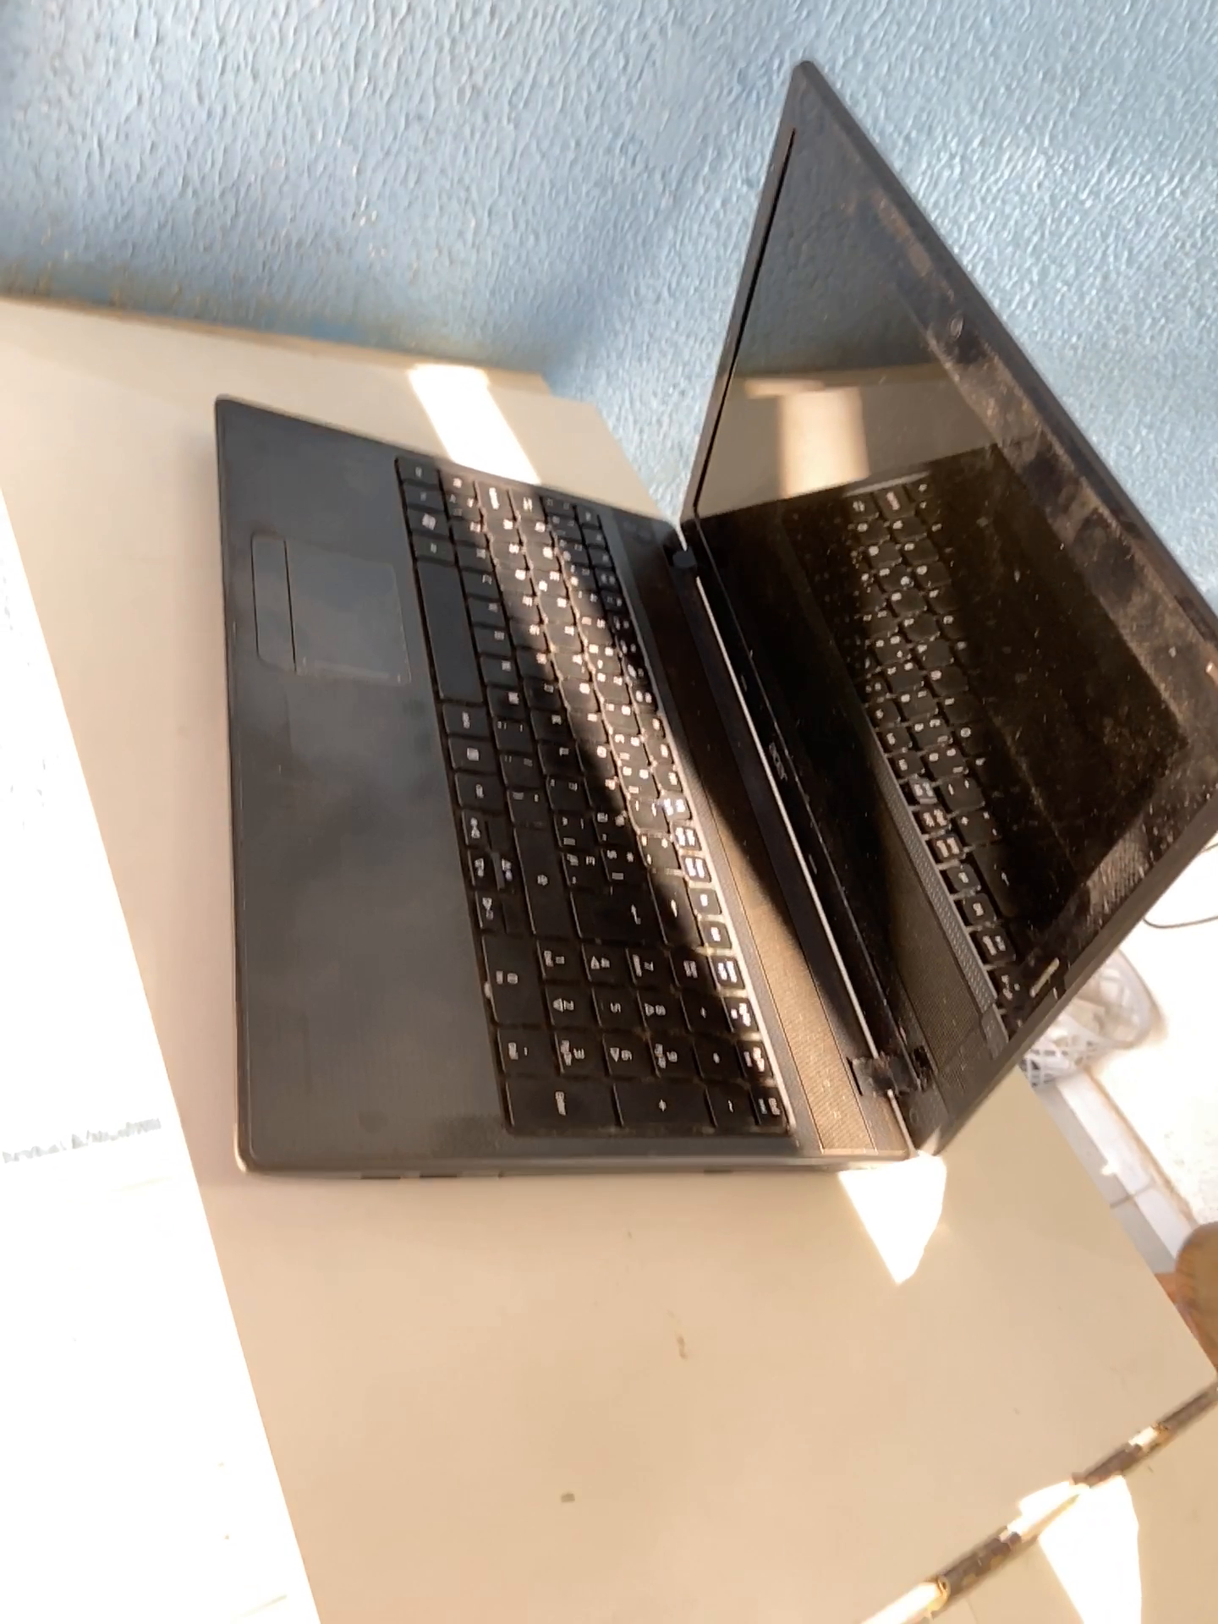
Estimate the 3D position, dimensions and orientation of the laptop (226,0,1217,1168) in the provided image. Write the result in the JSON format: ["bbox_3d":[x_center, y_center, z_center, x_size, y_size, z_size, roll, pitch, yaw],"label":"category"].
[{"bbox_3d":[0.019,-0.099,0.464,0.254,0.234,0.375,9,47,-28],"label":"laptop"}]
